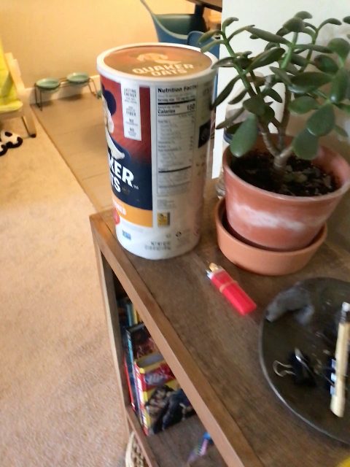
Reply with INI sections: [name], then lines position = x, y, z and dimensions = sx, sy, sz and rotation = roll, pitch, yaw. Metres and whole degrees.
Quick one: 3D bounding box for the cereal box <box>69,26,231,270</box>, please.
[cereal box]
position = -0.032, -0.104, 0.486
dimensions = 0.140, 0.248, 0.141
rotation = -13, 42, -13
